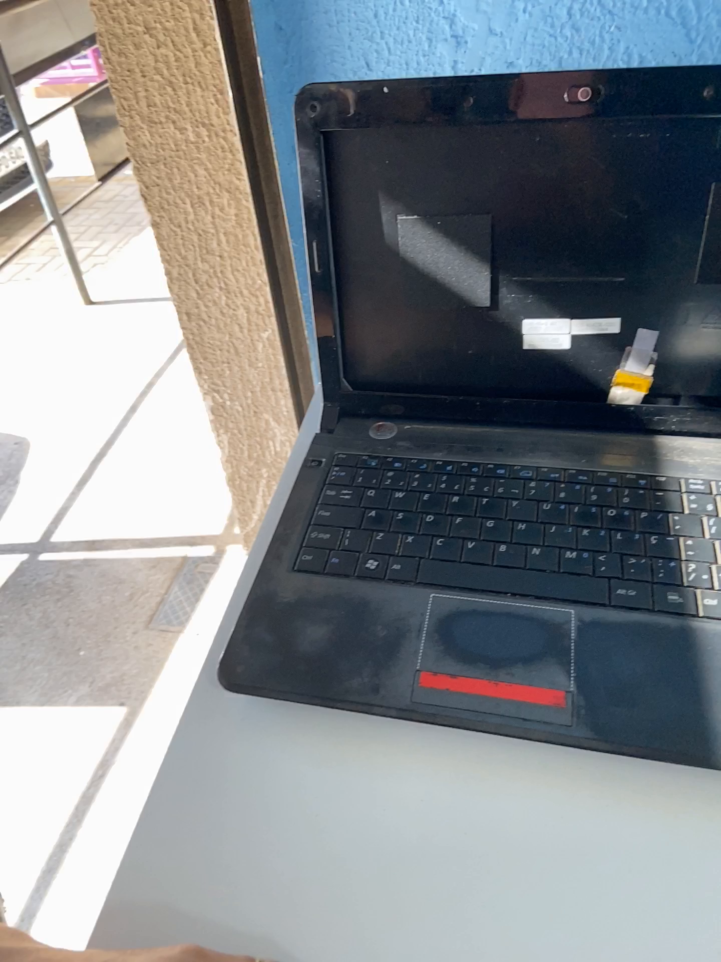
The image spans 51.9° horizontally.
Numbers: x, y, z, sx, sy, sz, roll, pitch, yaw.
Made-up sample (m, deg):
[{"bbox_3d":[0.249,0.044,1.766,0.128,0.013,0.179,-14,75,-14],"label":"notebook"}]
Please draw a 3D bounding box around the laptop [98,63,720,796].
[{"bbox_3d":[0.107,-0.053,0.390,0.334,0.216,0.277,5,43,13],"label":"laptop"}]
